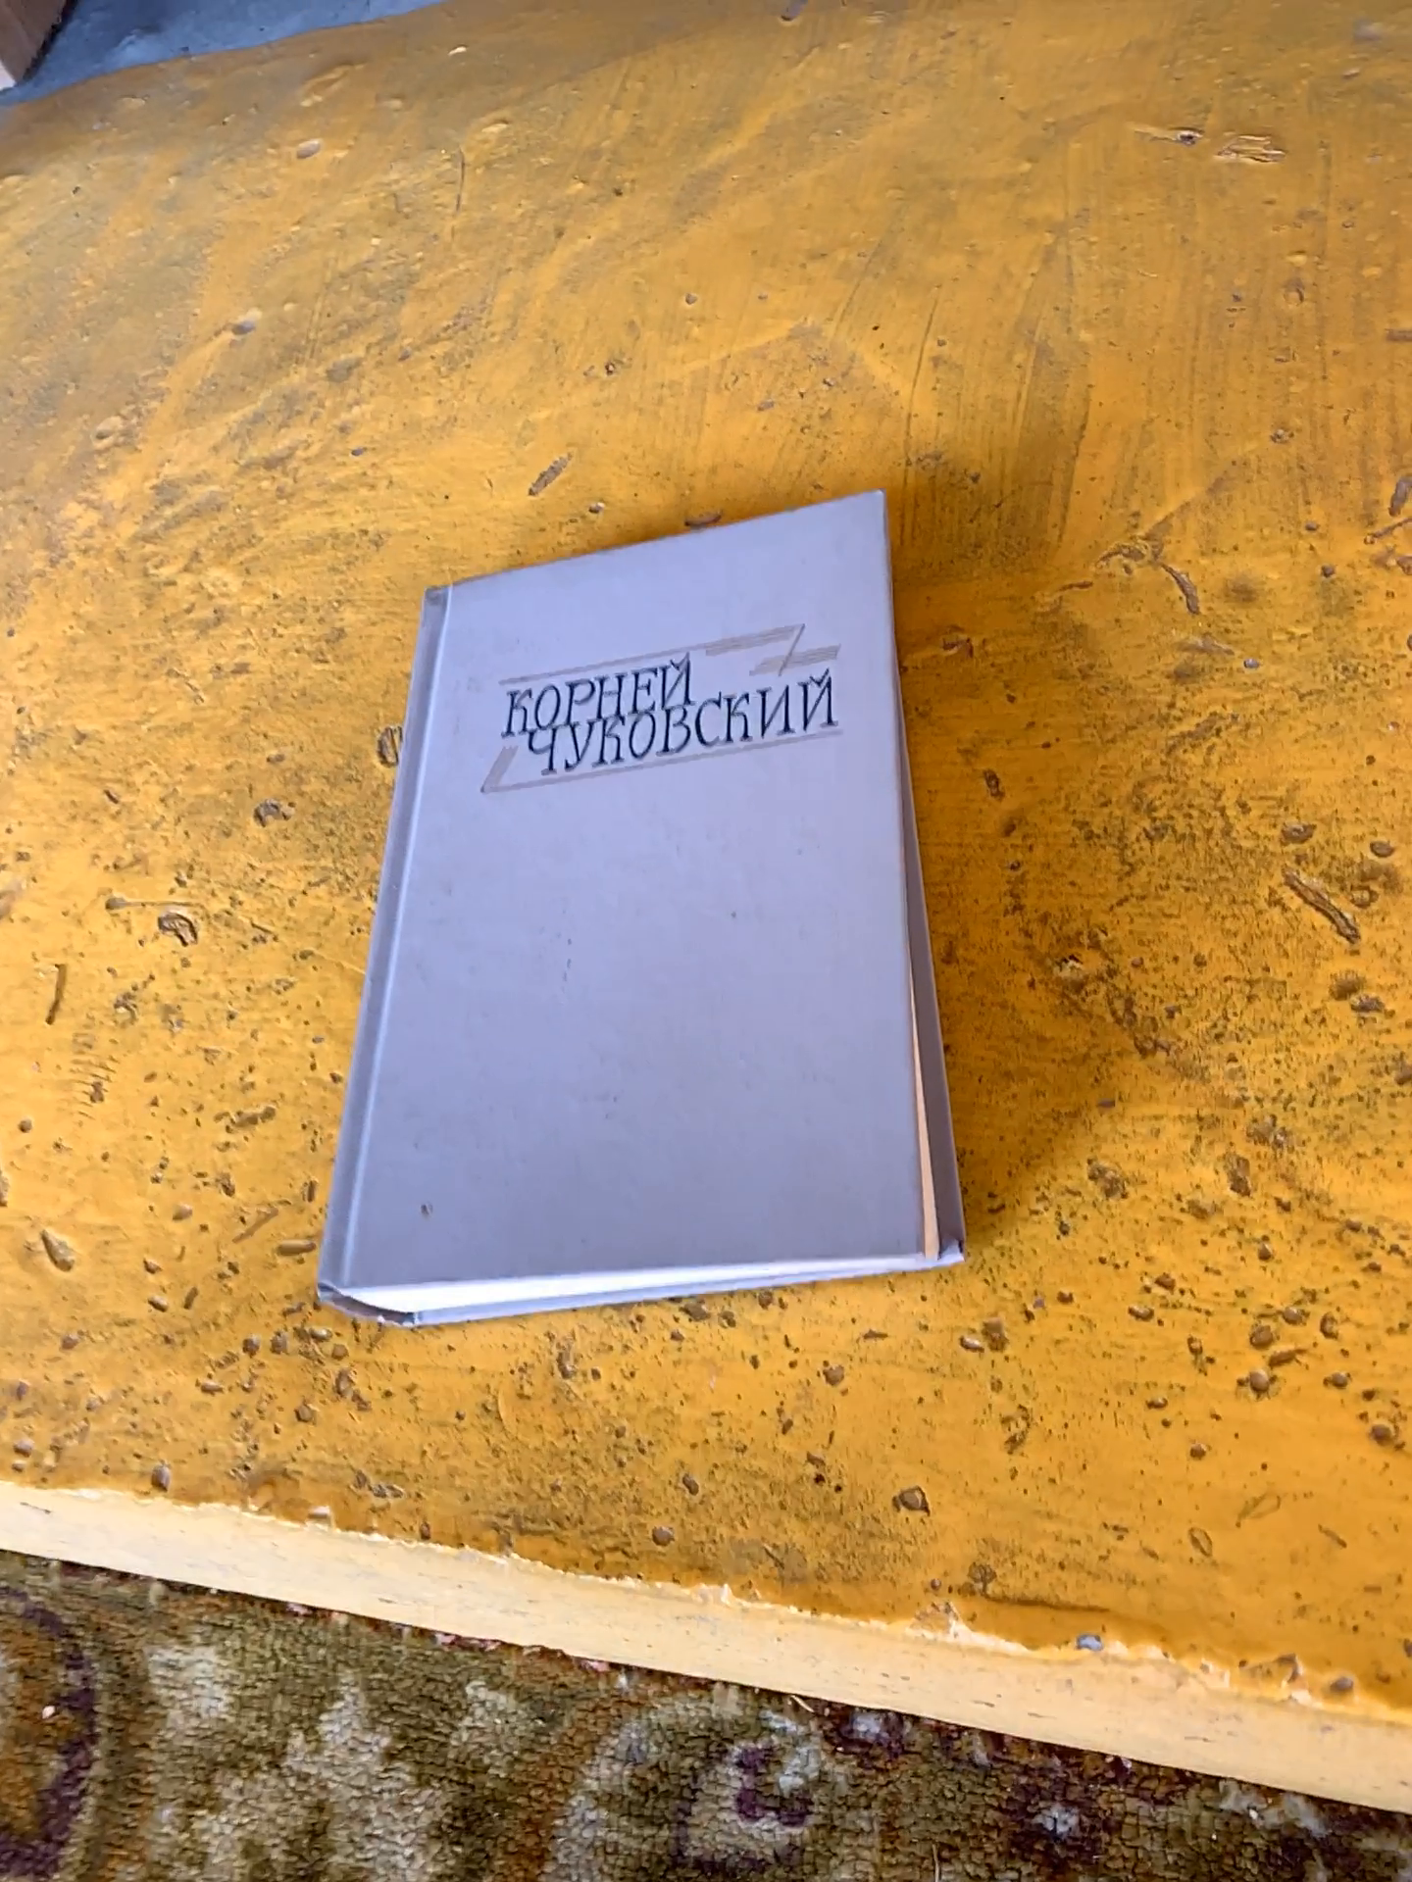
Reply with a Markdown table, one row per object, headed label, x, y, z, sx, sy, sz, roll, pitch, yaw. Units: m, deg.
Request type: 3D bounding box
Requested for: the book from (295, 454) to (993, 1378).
| label | x | y | z | sx | sy | sz | roll | pitch | yaw |
| --- | --- | --- | --- | --- | --- | --- | --- | --- | --- |
| book | -0.012 | -0.013 | 0.347 | 0.139 | 0.031 | 0.217 | -8 | 59 | 17 |
